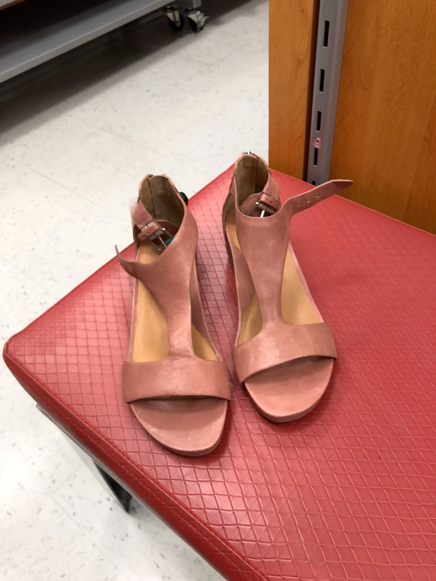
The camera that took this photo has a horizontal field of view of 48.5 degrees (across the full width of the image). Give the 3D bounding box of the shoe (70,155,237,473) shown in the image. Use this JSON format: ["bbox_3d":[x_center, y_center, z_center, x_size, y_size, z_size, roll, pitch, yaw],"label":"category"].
[{"bbox_3d":[-0.047,0.010,0.447,0.103,0.126,0.264,-5,49,2],"label":"shoe"}]

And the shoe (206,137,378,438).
[{"bbox_3d":[0.052,-0.015,0.453,0.105,0.116,0.262,-5,49,2],"label":"shoe"}]
